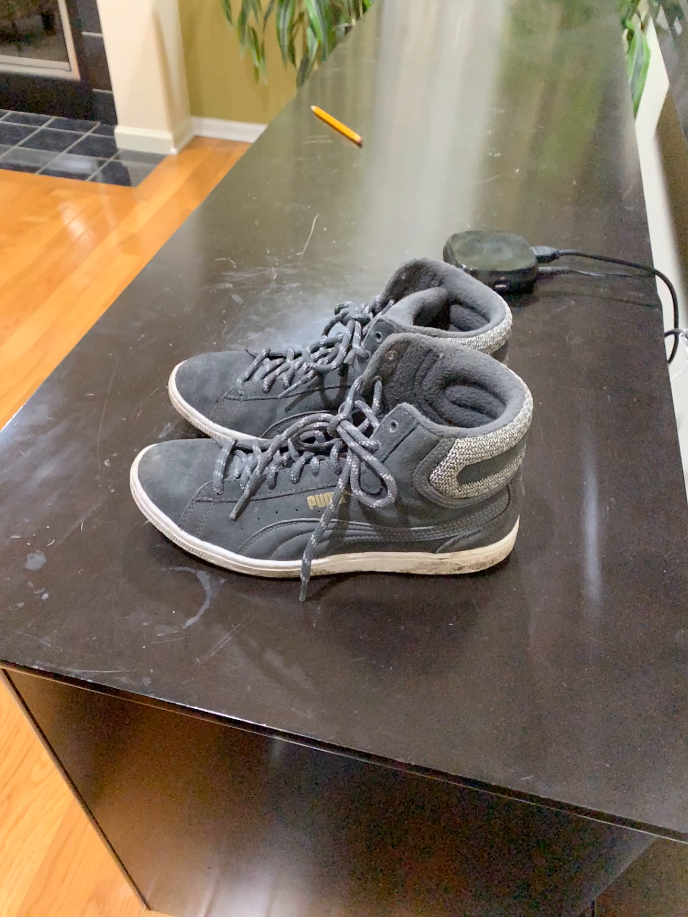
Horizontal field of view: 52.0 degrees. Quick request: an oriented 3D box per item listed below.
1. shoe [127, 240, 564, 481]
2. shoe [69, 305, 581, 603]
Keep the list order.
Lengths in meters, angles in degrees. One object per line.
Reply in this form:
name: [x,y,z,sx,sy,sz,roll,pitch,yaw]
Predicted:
shoe: [0.002,-0.069,0.491,0.260,0.107,0.101,5,45,2]
shoe: [-0.009,-0.002,0.424,0.252,0.124,0.098,5,45,2]
